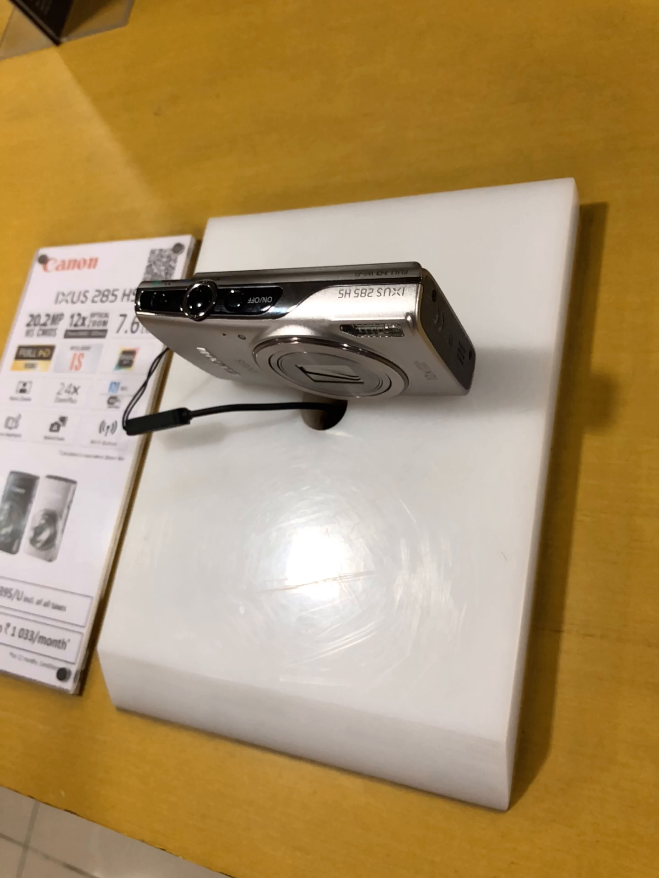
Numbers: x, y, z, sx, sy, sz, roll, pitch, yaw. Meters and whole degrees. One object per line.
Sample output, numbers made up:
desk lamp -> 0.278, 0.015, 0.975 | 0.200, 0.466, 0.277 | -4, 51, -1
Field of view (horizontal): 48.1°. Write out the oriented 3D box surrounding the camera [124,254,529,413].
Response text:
camera -> 0.000, -0.030, 0.231 | 0.110, 0.060, 0.020 | 4, 74, 28
